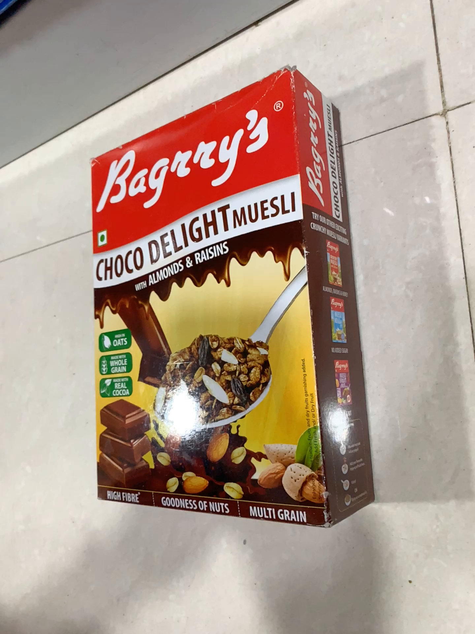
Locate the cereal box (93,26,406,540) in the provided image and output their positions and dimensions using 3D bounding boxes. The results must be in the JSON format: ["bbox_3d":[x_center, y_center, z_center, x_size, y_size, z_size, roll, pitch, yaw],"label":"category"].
[{"bbox_3d":[-0.006,-0.013,0.352,0.201,0.080,0.280,-8,80,35],"label":"cereal box"}]
